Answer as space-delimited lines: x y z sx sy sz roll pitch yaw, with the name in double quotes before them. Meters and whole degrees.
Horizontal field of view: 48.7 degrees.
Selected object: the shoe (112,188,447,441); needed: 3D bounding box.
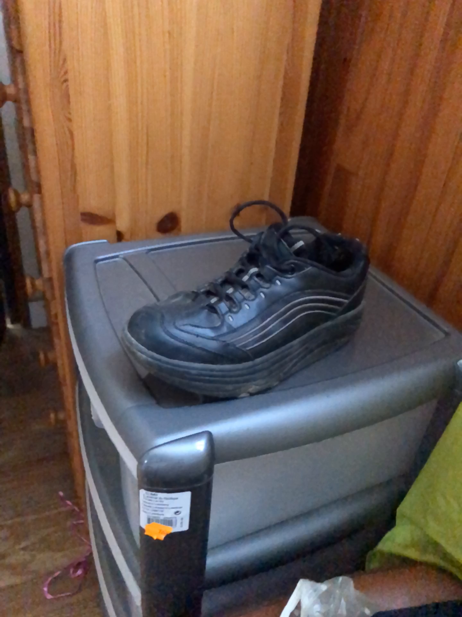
"shoe" 0.044 -0.011 0.462 0.271 0.129 0.110 -15 39 -30
